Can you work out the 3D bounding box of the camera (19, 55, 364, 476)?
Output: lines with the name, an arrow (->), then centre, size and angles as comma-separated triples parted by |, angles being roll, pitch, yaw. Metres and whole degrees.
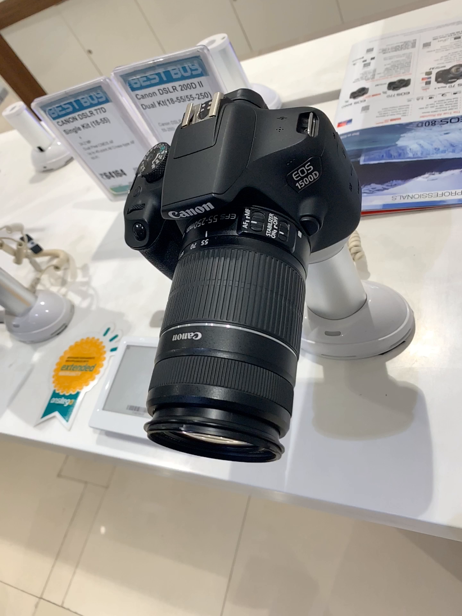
camera -> -0.005, -0.013, 0.237 | 0.118, 0.090, 0.164 | -7, 61, 27
